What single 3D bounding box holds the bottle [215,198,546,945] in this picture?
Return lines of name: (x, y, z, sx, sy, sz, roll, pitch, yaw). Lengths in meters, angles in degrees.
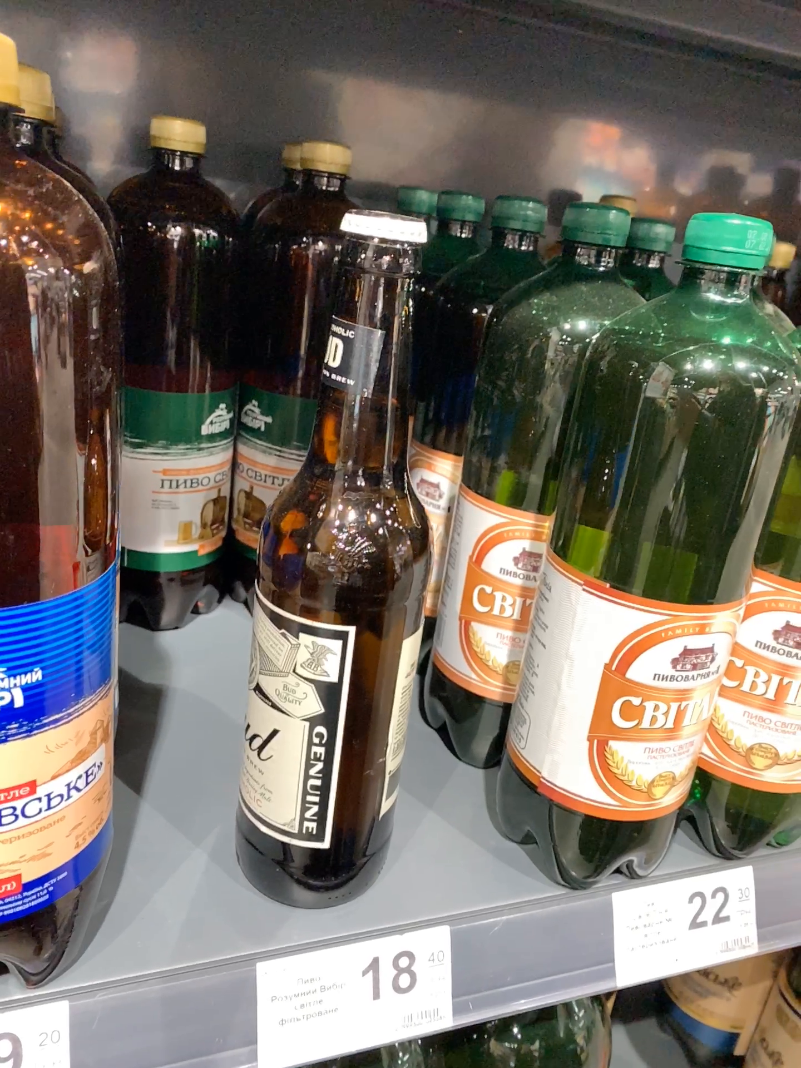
bottle: (-0.015, 0.018, 0.313, 0.064, 0.258, 0.070, 23, 26, 34)
